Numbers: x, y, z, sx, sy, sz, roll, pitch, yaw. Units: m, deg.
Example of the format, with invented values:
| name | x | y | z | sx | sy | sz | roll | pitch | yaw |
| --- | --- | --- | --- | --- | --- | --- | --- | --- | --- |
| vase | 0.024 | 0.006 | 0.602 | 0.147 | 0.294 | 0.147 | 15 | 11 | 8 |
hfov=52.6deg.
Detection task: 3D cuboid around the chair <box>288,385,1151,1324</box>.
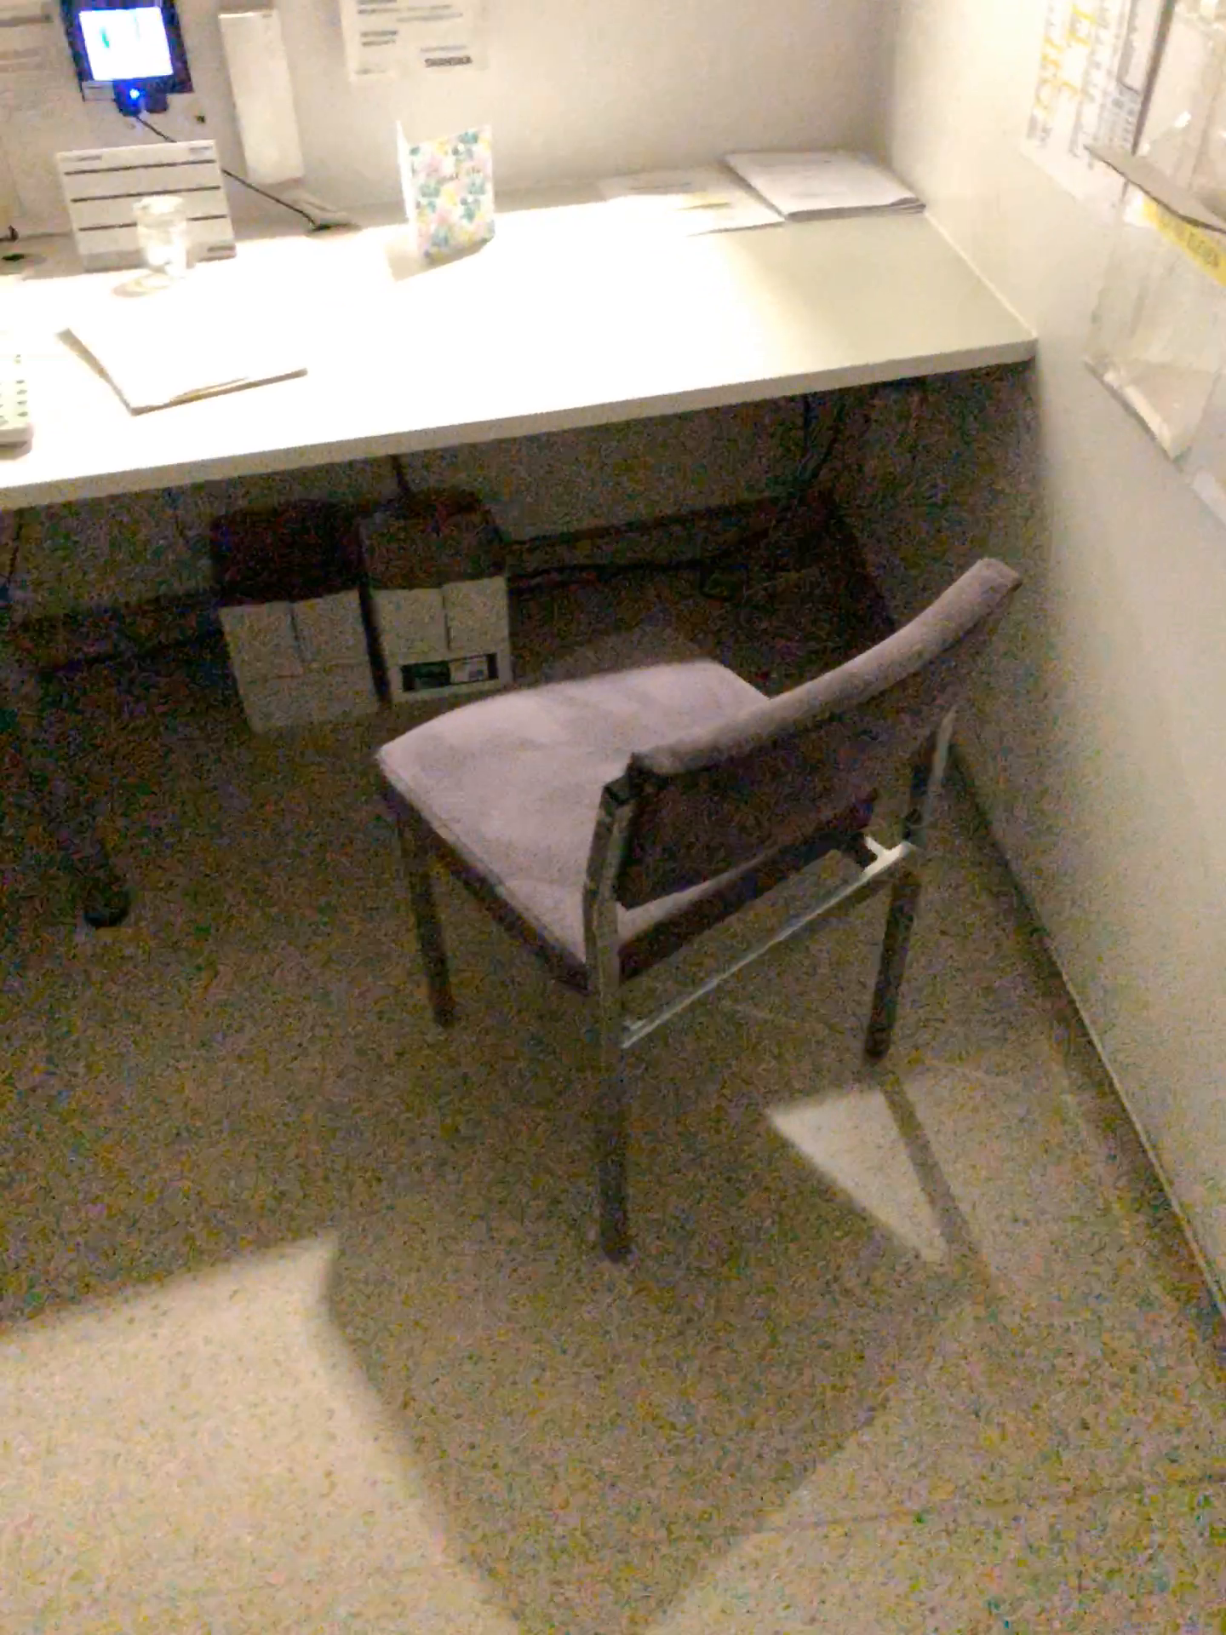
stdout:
| name | x | y | z | sx | sy | sz | roll | pitch | yaw |
| --- | --- | --- | --- | --- | --- | --- | --- | --- | --- |
| chair | 0.088 | 0.011 | 1.359 | 0.572 | 0.663 | 0.554 | -27 | 48 | -27 |
